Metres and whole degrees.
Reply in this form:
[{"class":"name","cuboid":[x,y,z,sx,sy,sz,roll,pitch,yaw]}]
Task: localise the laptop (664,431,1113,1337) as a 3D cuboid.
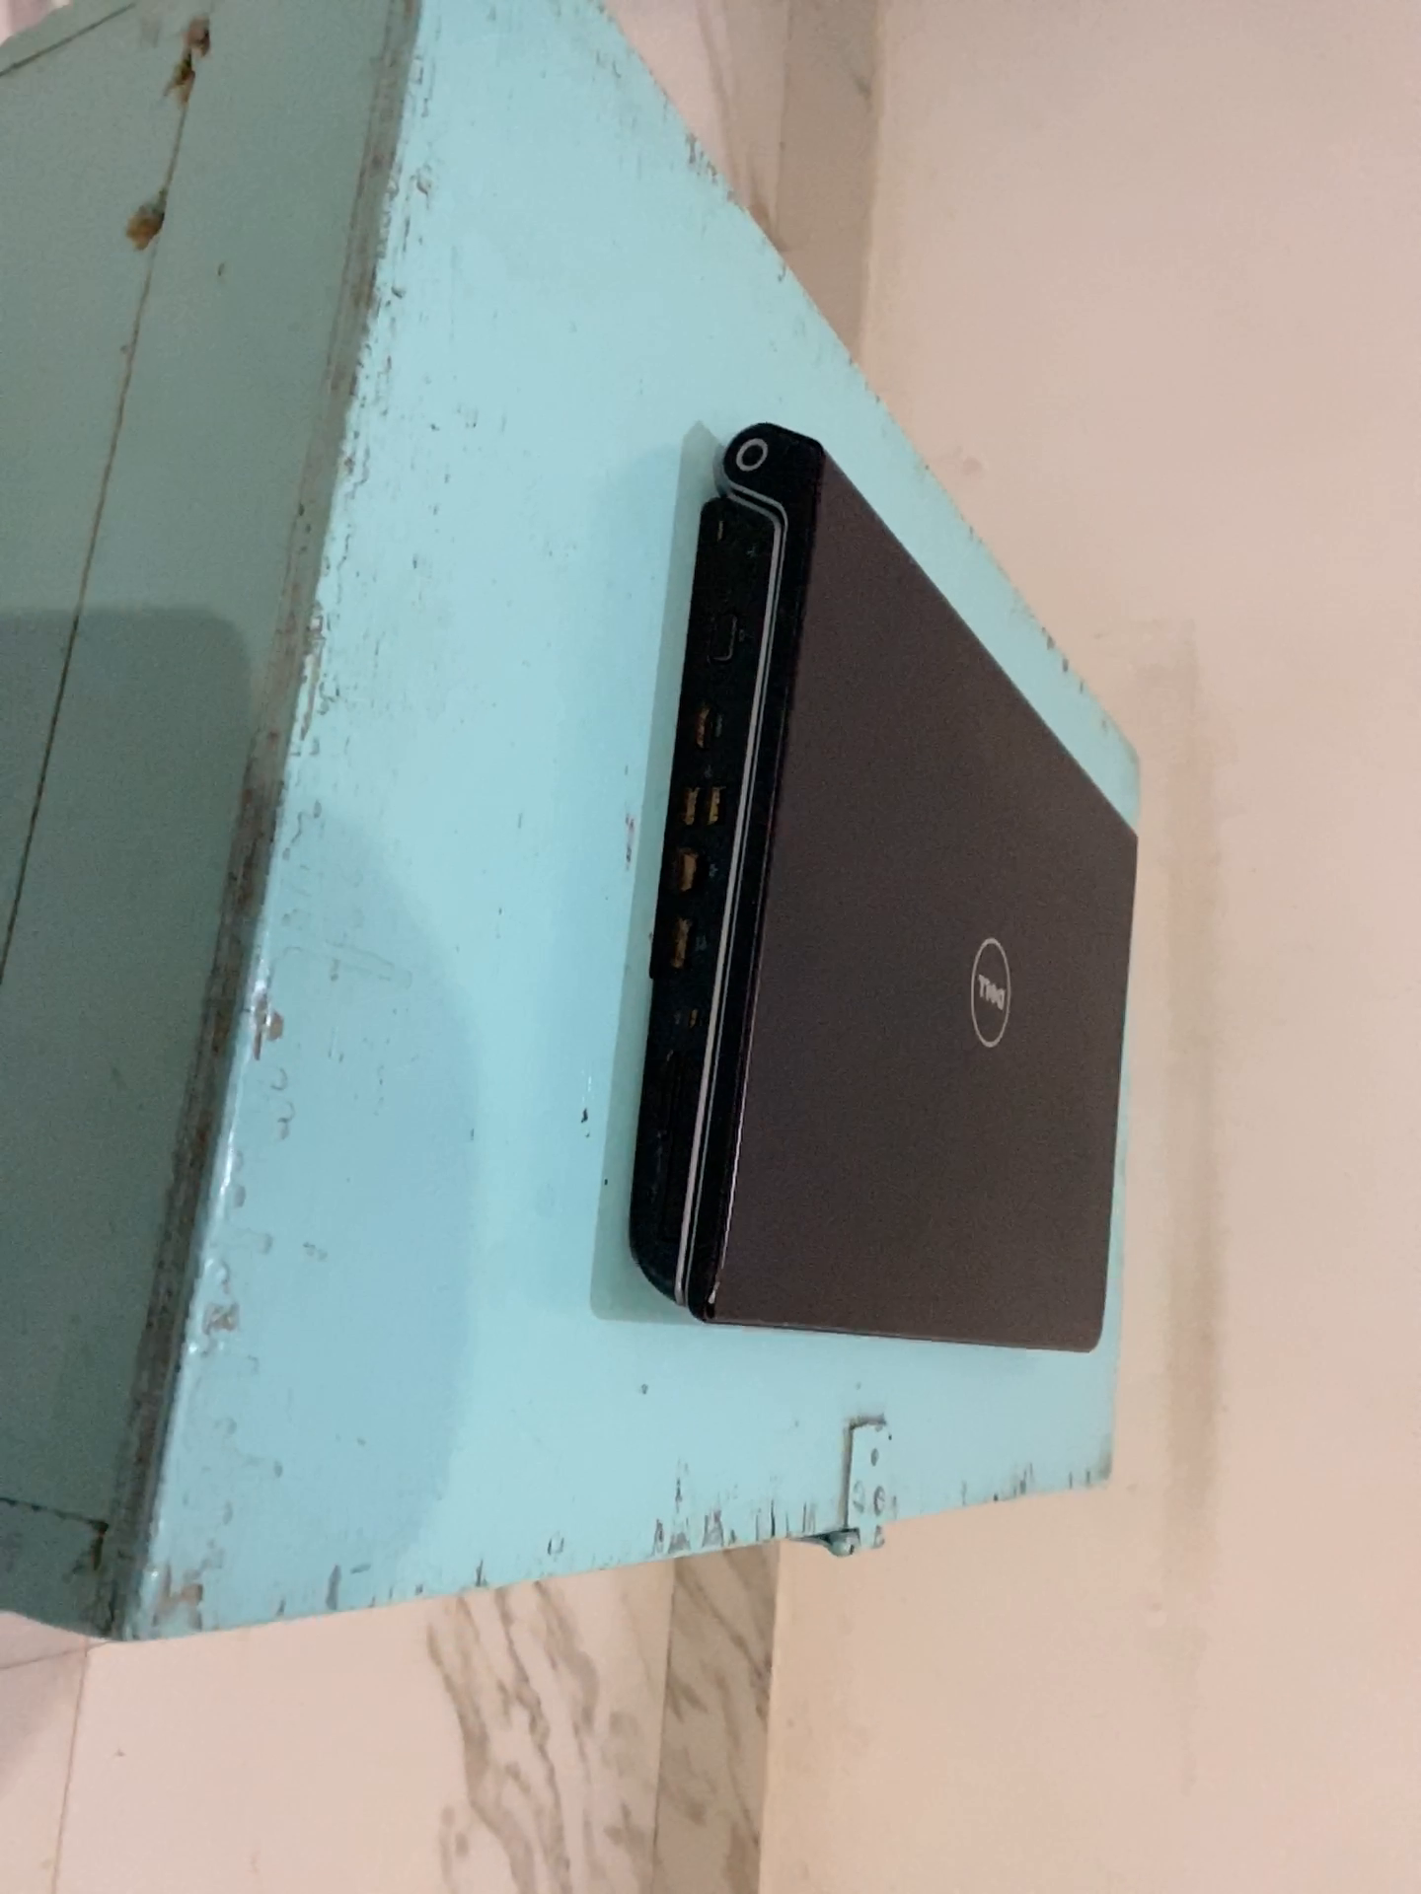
[{"class":"laptop","cuboid":[0.102,0.016,0.601,0.387,0.004,0.269,27,68,-56]}]
